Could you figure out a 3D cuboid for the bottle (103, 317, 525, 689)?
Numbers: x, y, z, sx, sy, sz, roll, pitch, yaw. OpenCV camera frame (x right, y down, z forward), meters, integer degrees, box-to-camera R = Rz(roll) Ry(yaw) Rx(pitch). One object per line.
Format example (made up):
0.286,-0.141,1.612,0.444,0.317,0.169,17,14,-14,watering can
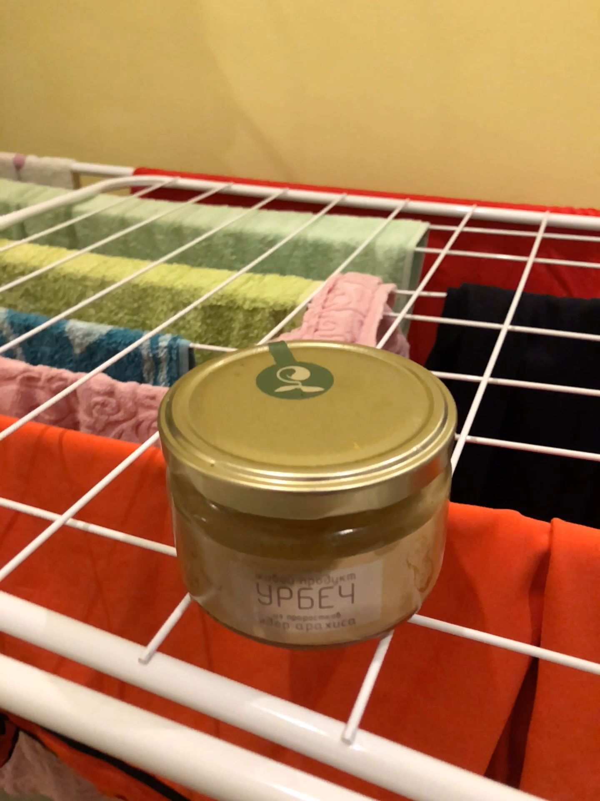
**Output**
0.001,0.023,0.196,0.090,0.060,0.091,0,31,0,bottle
